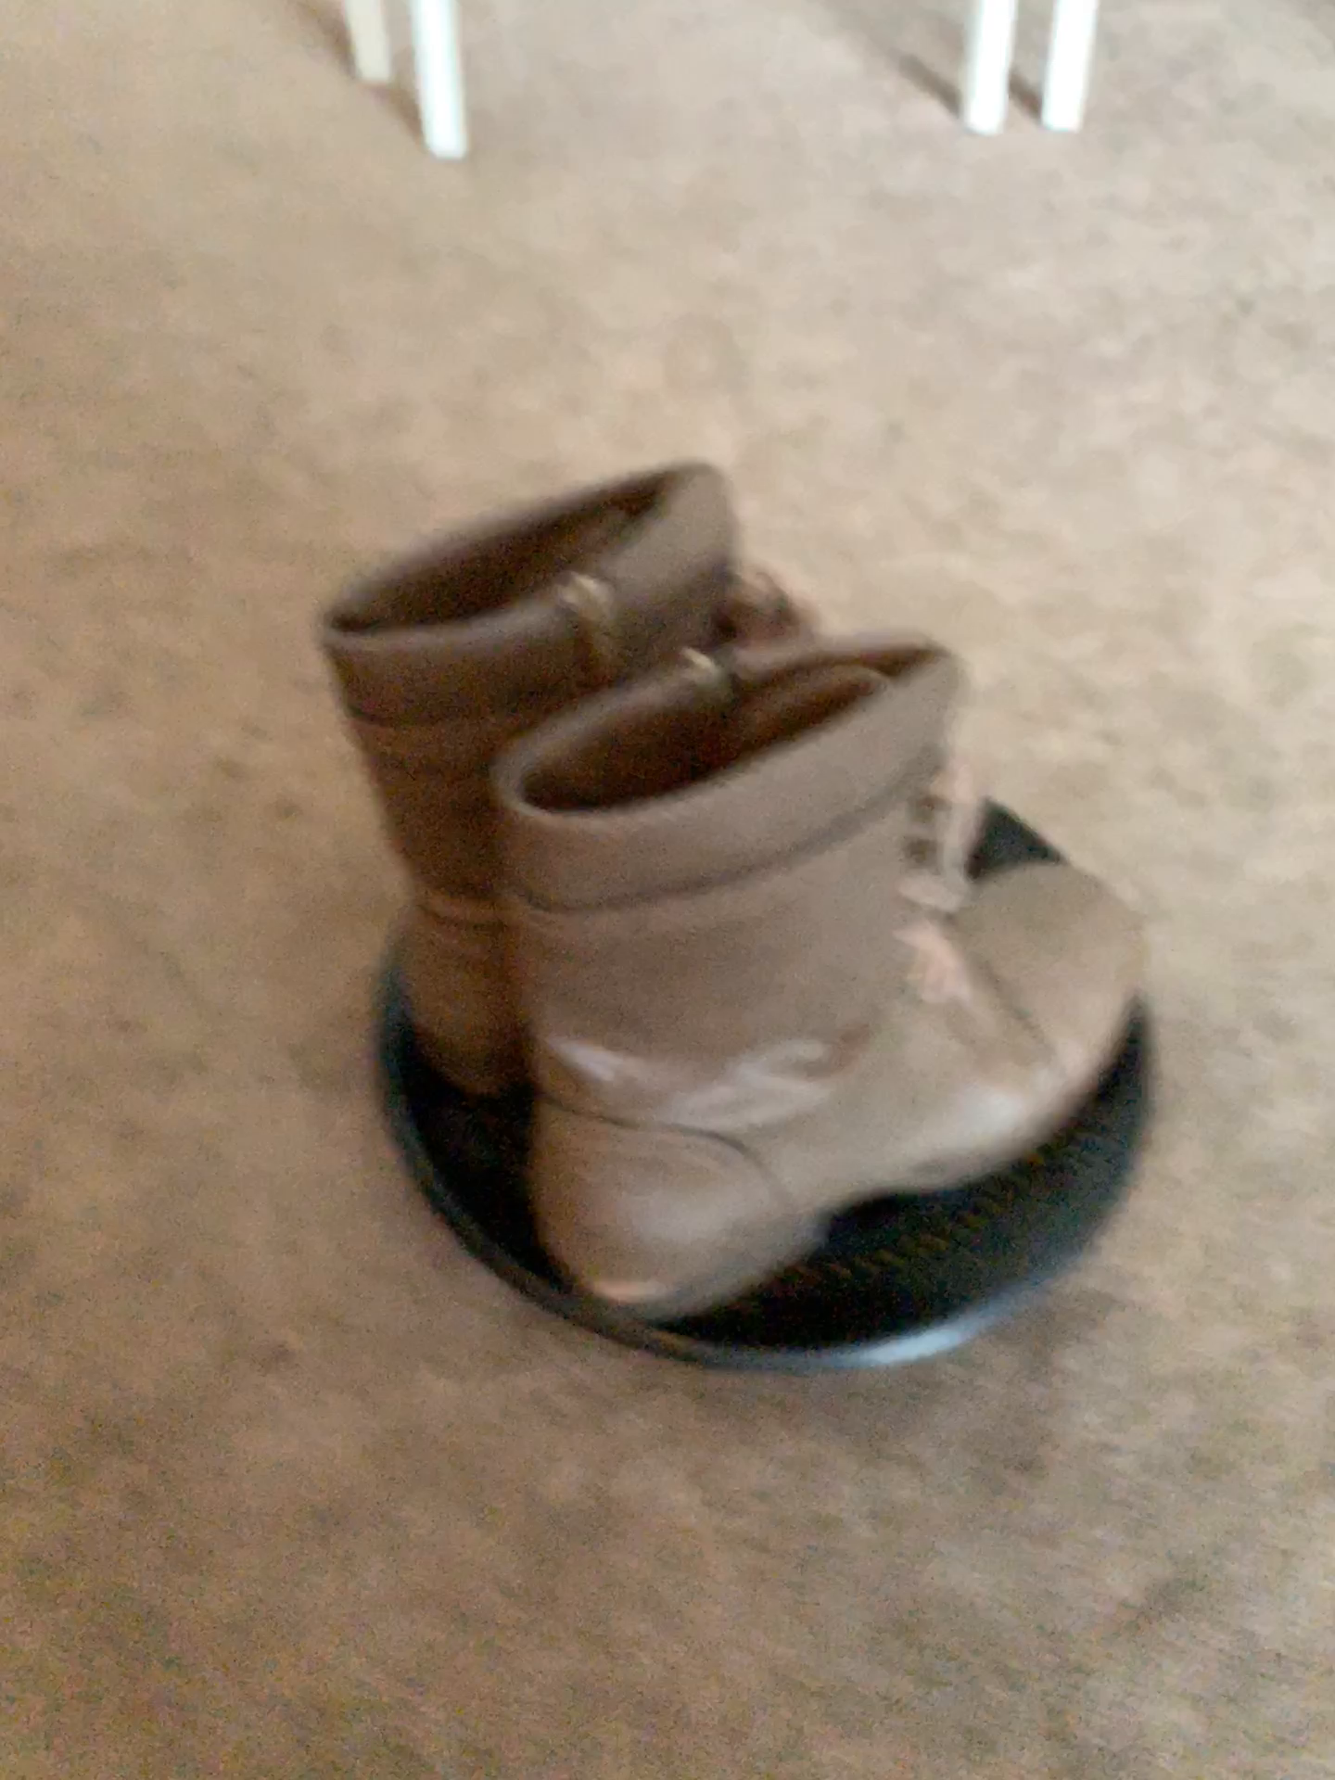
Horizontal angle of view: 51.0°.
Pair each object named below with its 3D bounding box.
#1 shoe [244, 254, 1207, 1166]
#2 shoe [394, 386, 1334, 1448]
[{"bbox_3d":[0.025,-0.059,0.469,0.261,0.198,0.101,-28,54,-20],"label":"shoe"},{"bbox_3d":[0.081,0.008,0.408,0.271,0.198,0.101,-28,54,-20],"label":"shoe"}]
